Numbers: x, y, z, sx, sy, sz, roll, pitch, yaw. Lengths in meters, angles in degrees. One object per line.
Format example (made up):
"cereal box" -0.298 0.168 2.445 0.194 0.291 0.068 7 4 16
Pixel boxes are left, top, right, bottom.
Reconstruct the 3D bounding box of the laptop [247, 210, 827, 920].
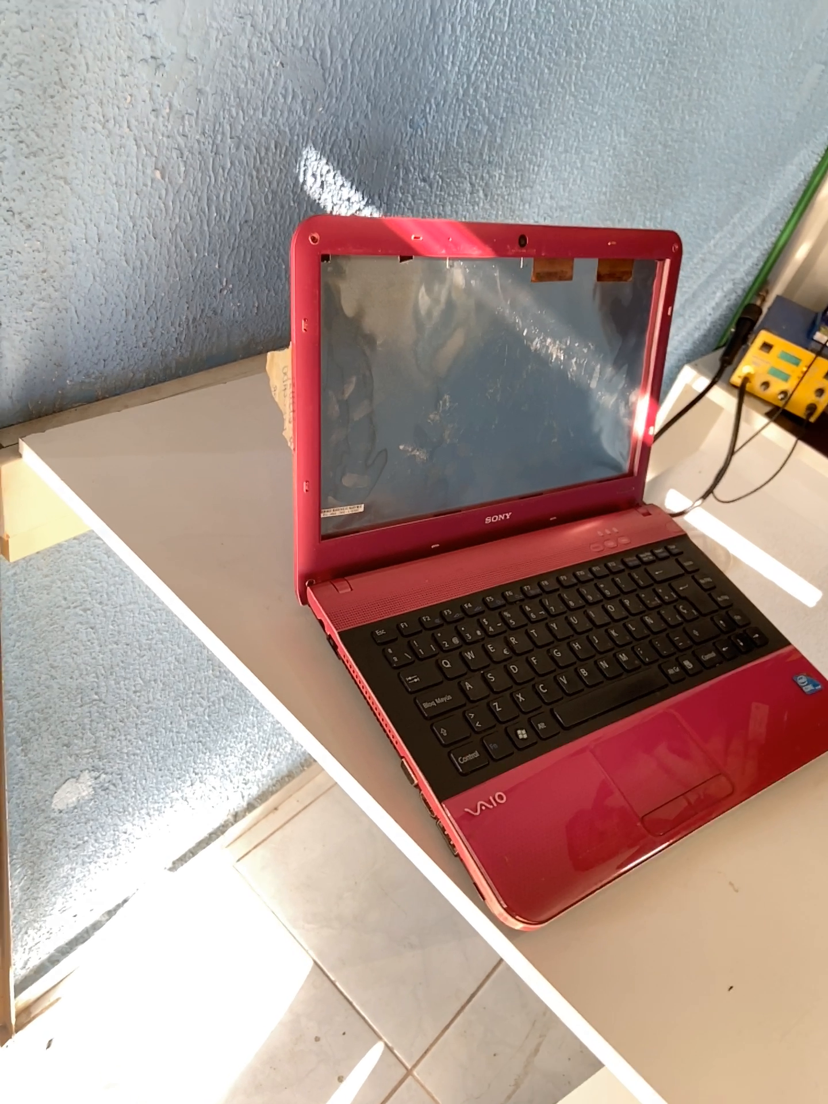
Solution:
"laptop" 0.129 -0.034 0.542 0.332 0.187 0.340 -12 51 -34
